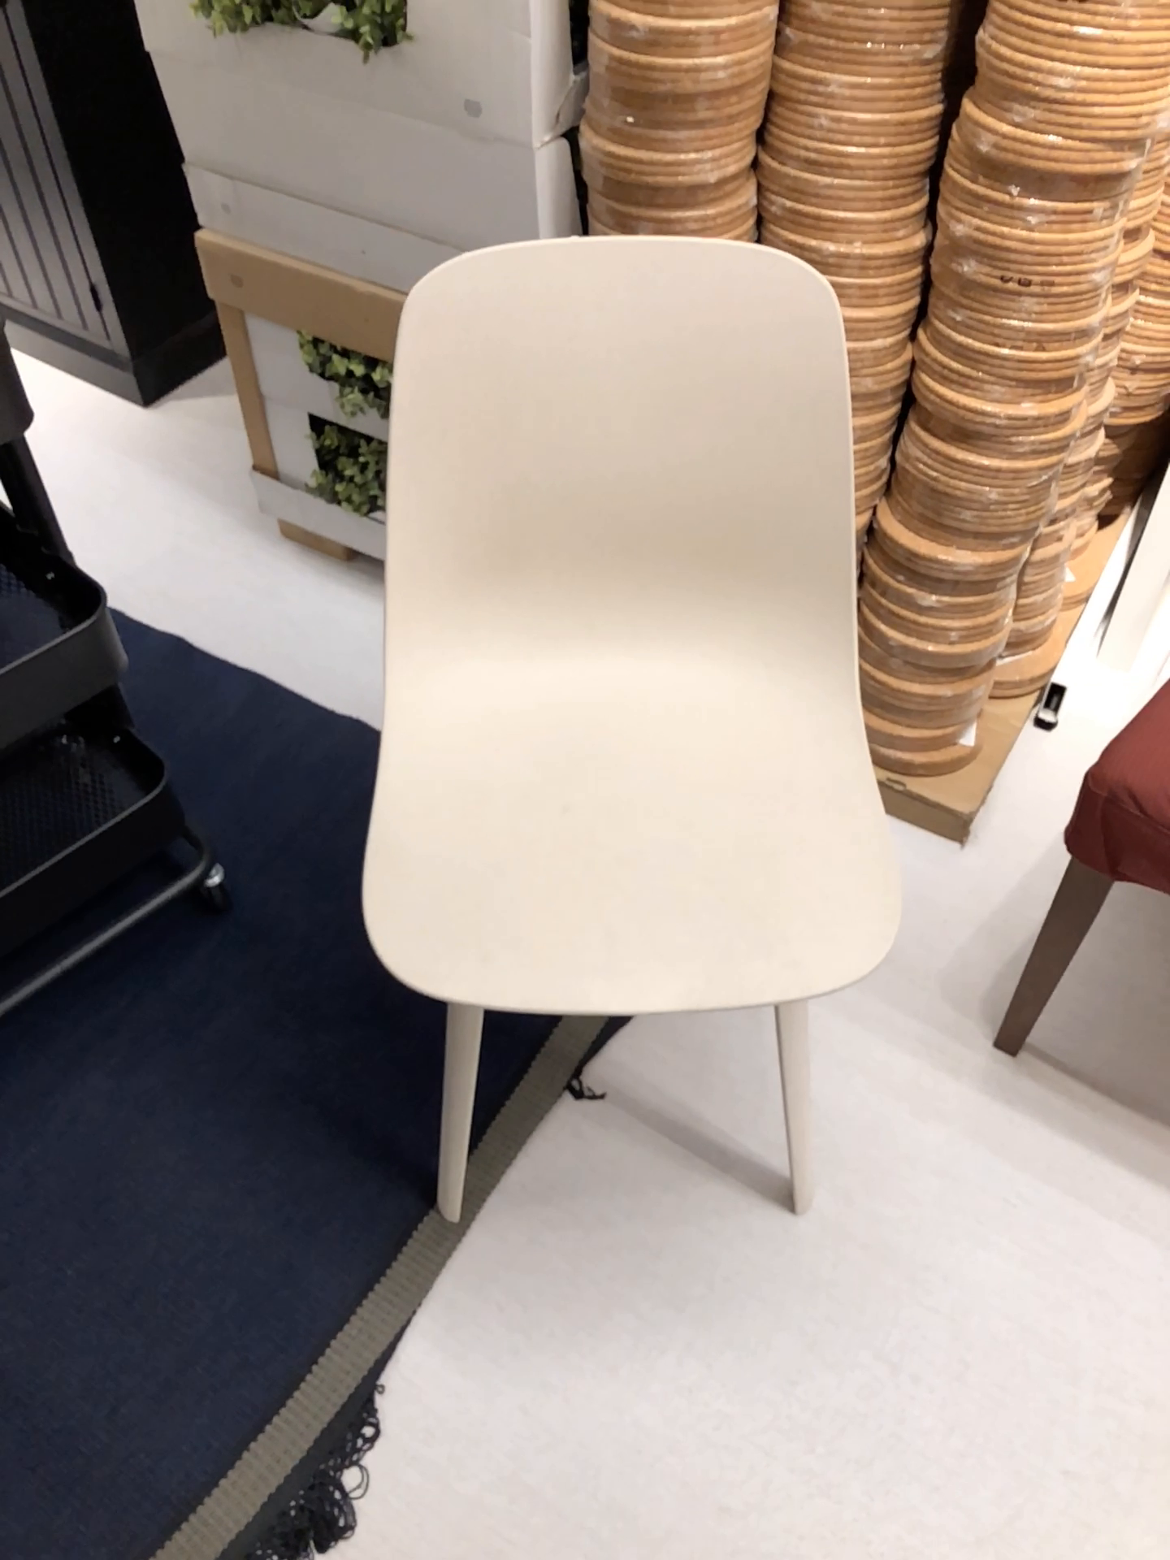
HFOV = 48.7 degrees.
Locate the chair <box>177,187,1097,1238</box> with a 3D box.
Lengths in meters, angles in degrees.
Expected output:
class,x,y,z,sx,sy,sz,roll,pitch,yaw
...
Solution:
class,x,y,z,sx,sy,sz,roll,pitch,yaw
chair,0.031,-0.013,1.056,0.450,0.696,0.493,-3,49,1
